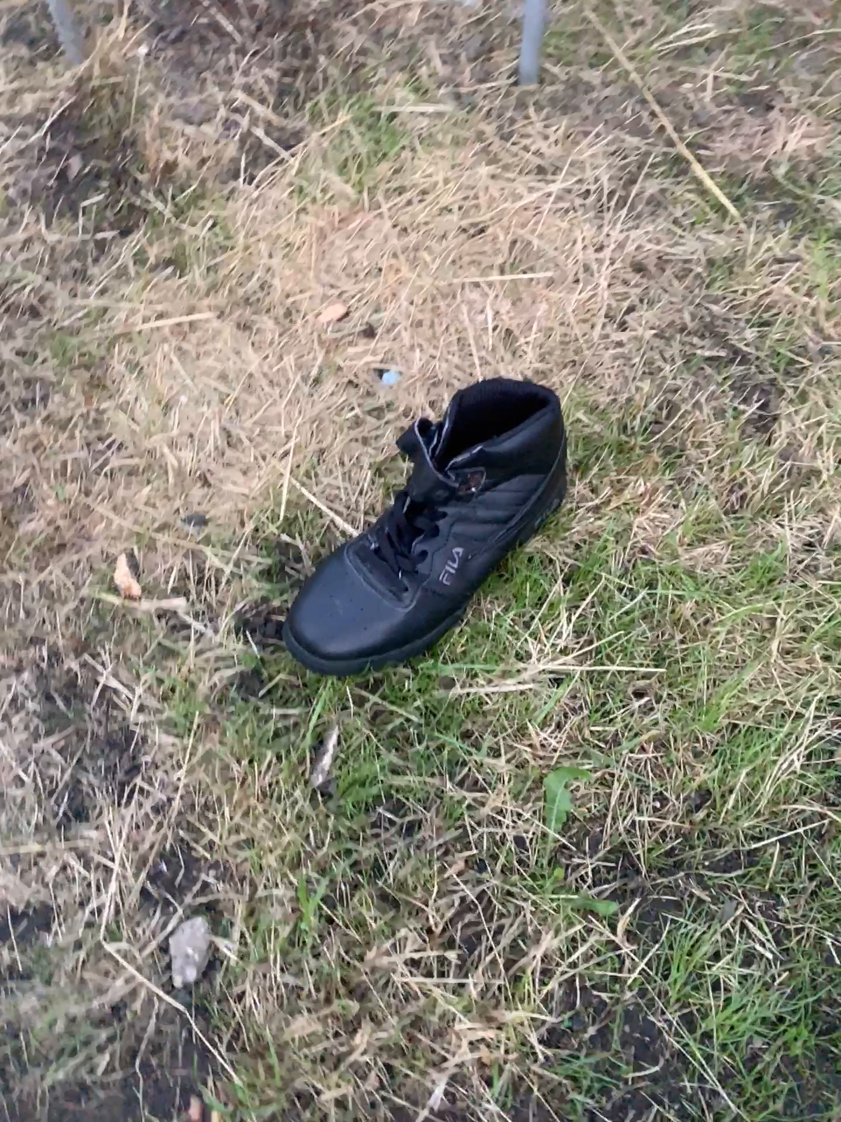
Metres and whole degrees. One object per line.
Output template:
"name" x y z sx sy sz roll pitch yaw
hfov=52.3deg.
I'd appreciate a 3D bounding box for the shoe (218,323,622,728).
"shoe" 0.005 -0.022 0.609 0.261 0.139 0.100 -41 73 -15
